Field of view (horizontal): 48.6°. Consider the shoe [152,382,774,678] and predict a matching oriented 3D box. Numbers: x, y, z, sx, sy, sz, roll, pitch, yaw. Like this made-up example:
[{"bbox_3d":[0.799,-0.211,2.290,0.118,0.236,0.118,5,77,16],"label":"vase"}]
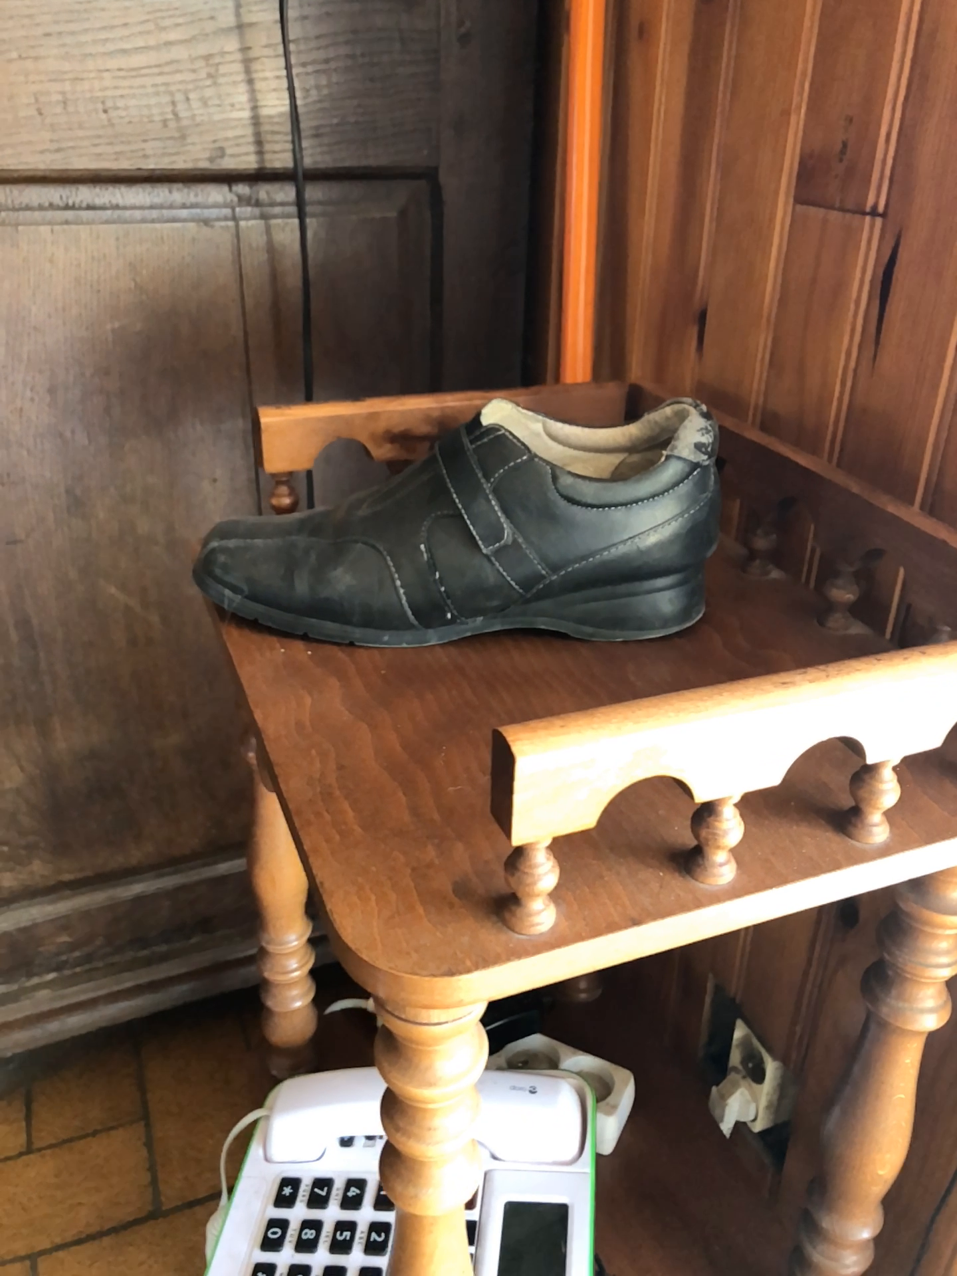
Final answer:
[{"bbox_3d":[-0.006,-0.053,0.492,0.250,0.099,0.101,2,28,0],"label":"shoe"}]
